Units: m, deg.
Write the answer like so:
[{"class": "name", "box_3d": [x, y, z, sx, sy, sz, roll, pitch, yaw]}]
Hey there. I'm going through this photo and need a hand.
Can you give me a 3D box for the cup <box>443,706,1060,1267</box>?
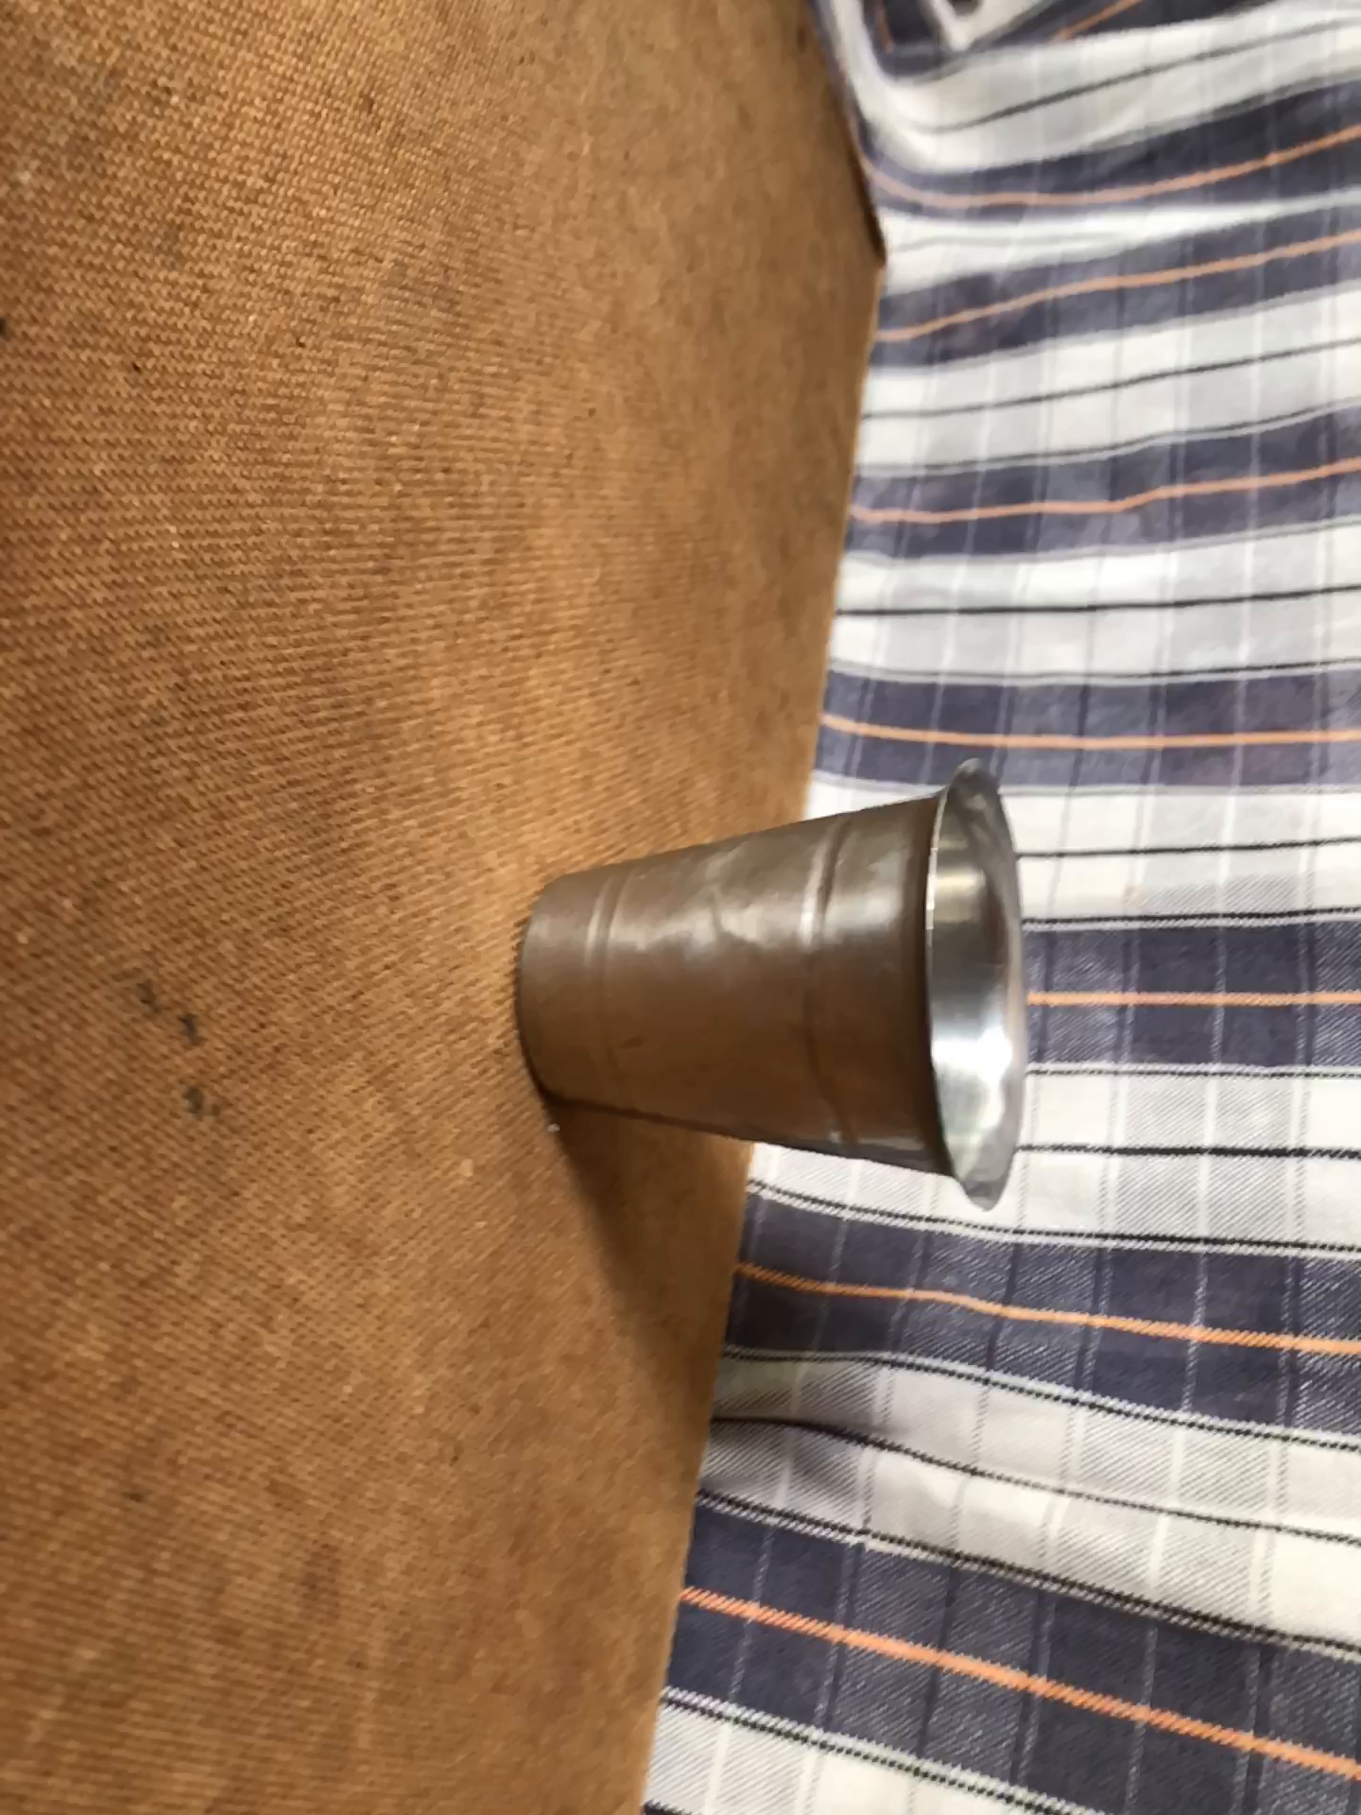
[{"class": "cup", "box_3d": [0.017, 0.013, 0.262, 0.060, 0.079, 0.070, -59, 140, -54]}]
